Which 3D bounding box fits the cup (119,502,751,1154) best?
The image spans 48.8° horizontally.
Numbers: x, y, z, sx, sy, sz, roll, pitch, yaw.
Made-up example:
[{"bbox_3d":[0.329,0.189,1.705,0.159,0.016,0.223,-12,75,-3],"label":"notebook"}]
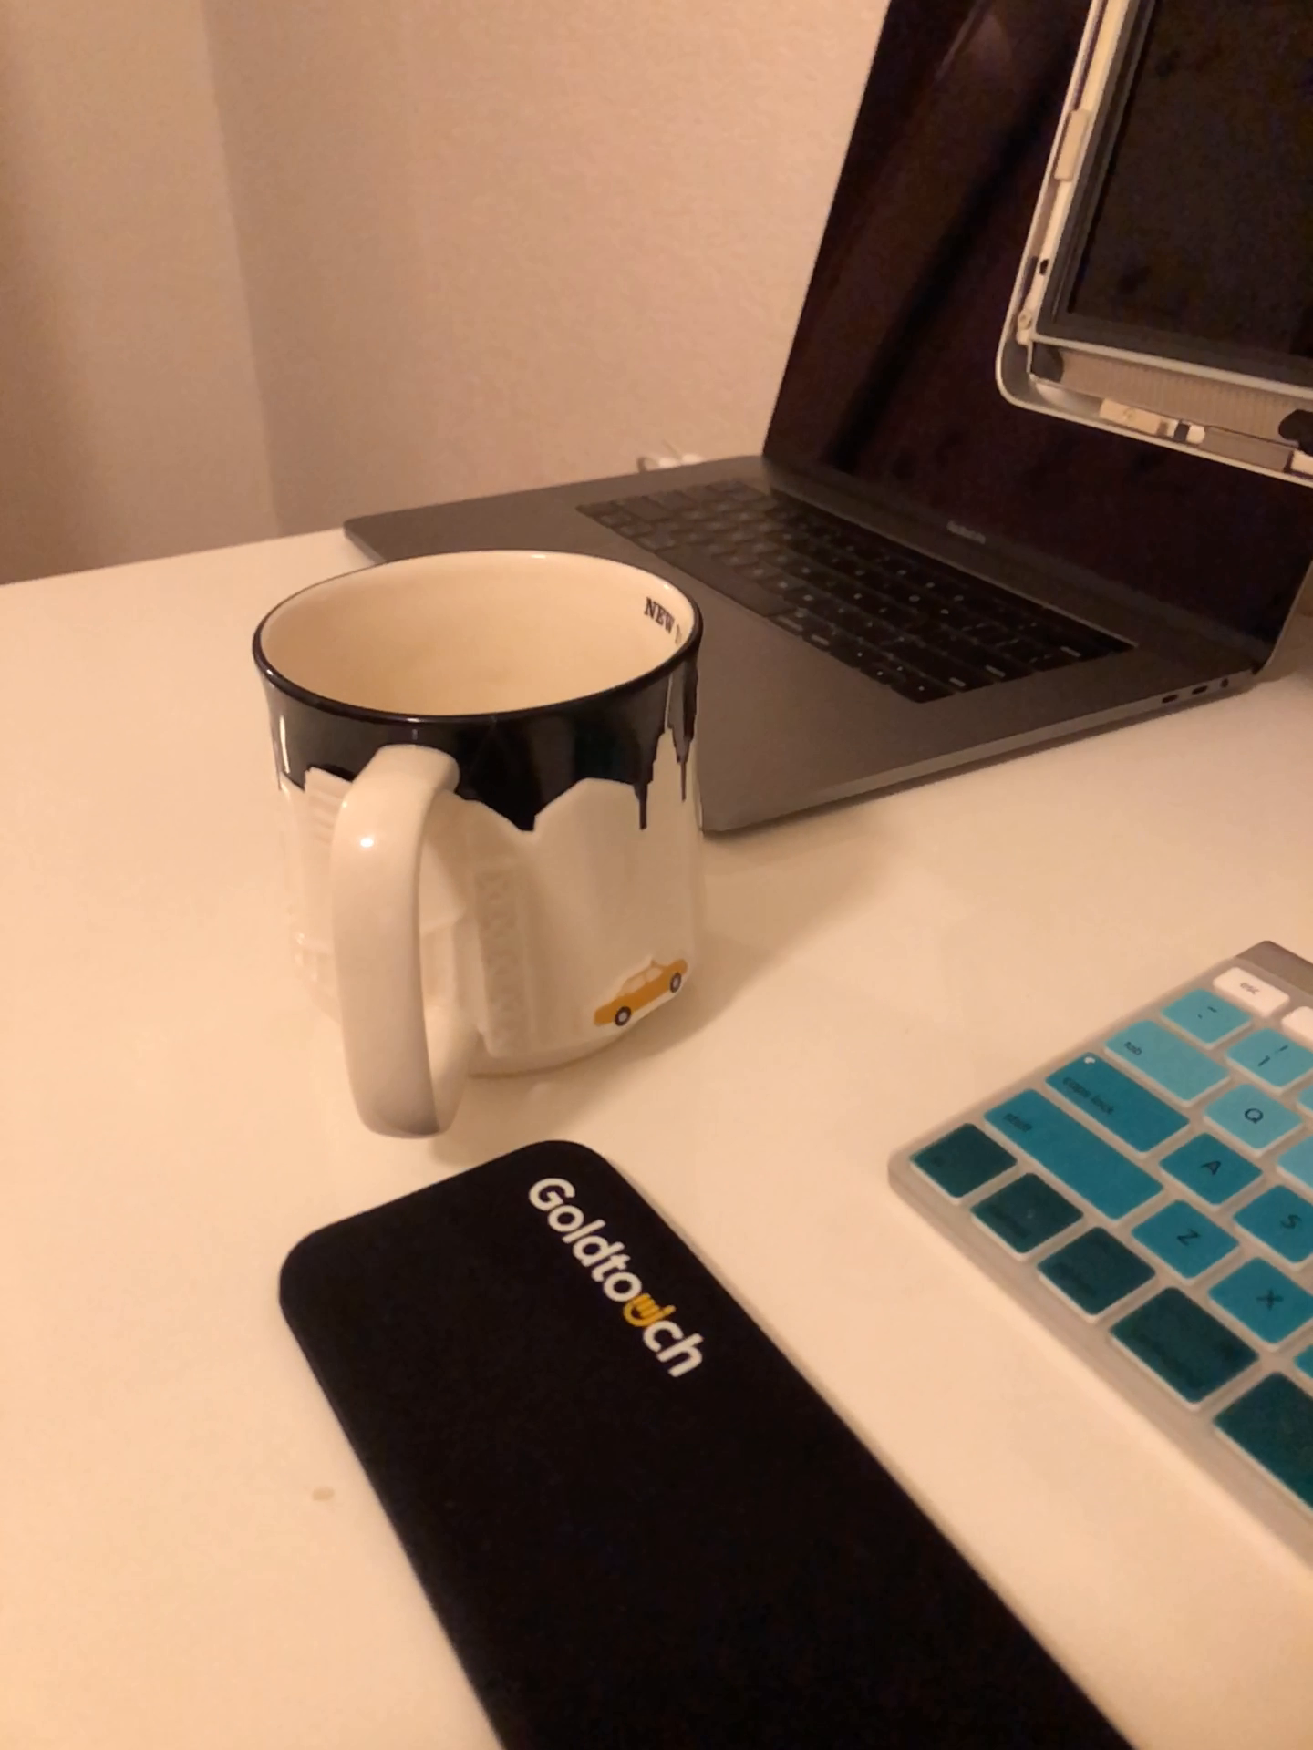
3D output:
[{"bbox_3d":[-0.039,-0.021,0.339,0.110,0.089,0.151,-1,31,0],"label":"cup"}]
